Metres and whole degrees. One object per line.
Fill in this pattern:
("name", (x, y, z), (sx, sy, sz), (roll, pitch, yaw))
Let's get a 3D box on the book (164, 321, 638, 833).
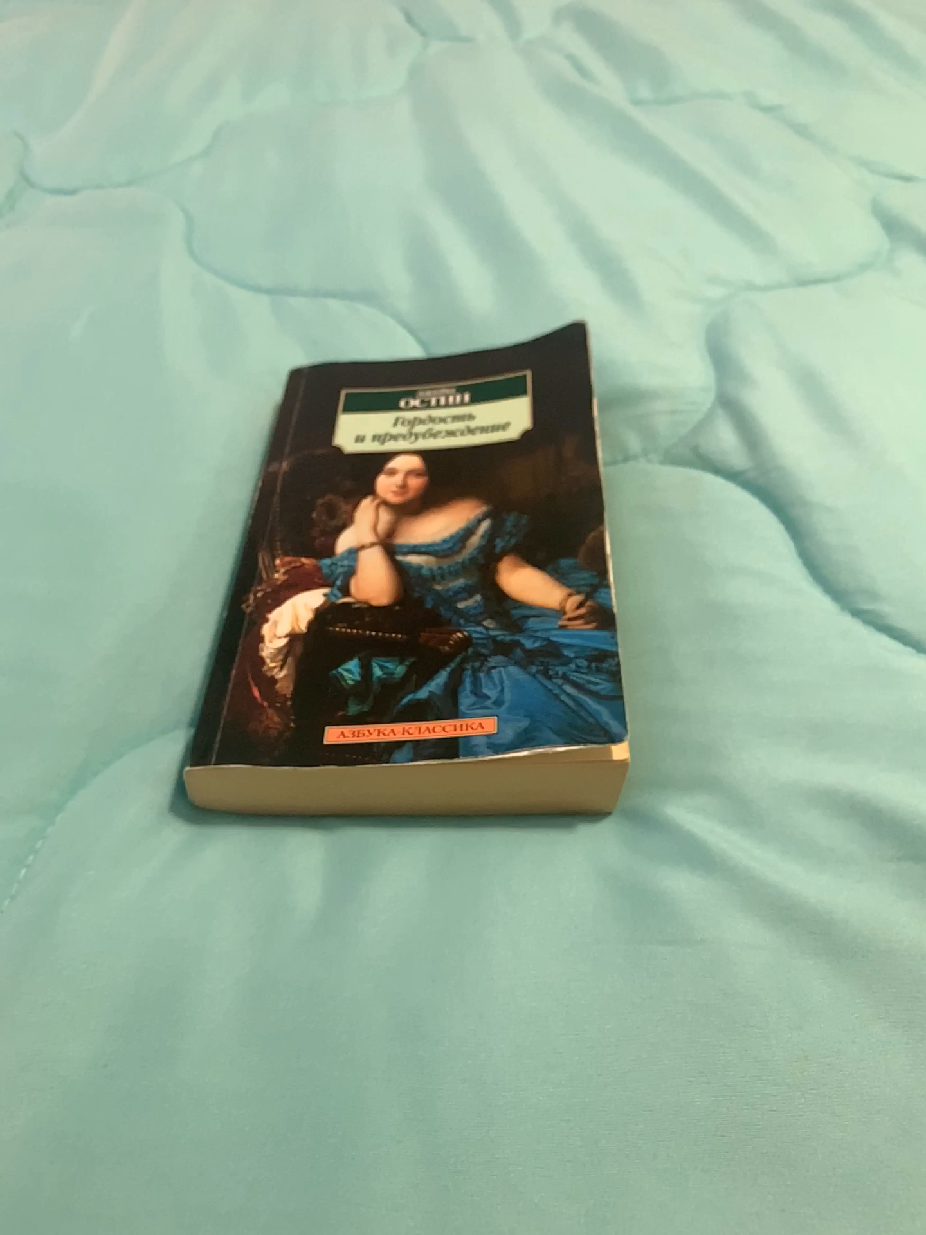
("book", (-0.012, -0.024, 0.297), (0.110, 0.044, 0.174), (2, 48, 1))
